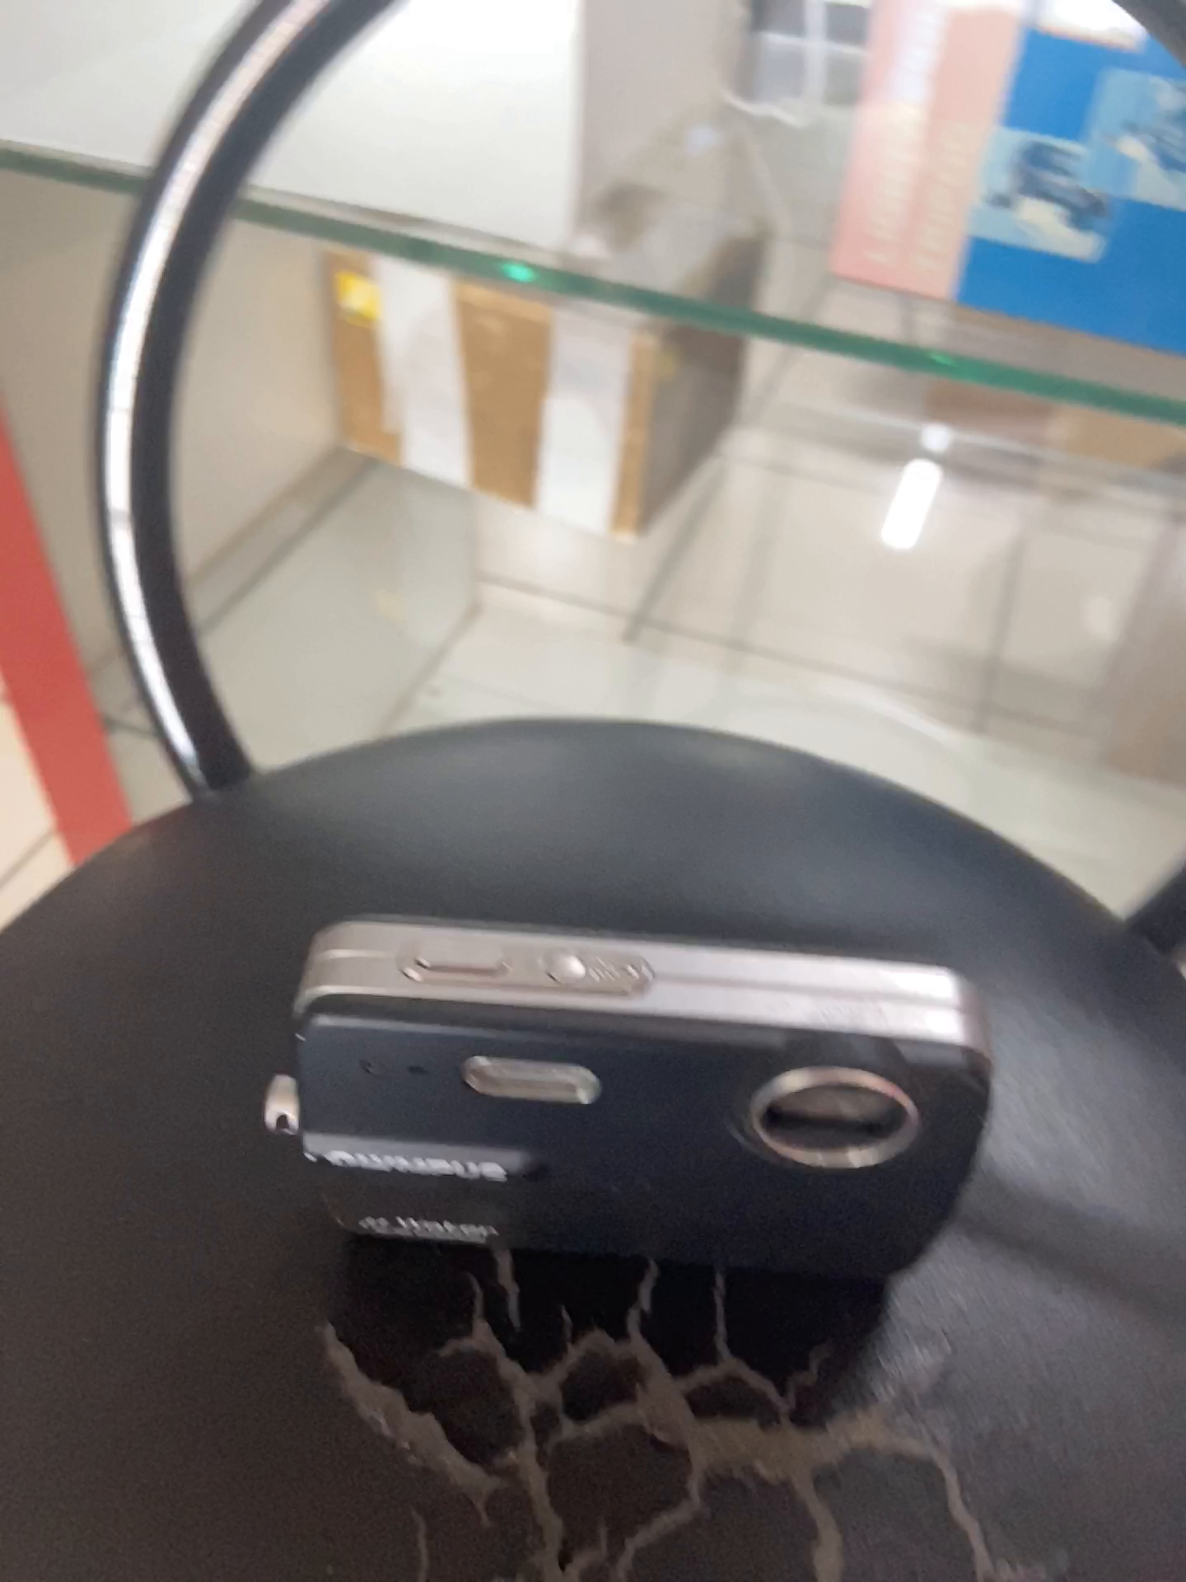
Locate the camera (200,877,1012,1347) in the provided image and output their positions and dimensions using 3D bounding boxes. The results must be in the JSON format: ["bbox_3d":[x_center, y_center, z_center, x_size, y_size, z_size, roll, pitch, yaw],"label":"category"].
[{"bbox_3d":[0.001,0.049,0.184,0.100,0.060,0.030,6,44,2],"label":"camera"}]
